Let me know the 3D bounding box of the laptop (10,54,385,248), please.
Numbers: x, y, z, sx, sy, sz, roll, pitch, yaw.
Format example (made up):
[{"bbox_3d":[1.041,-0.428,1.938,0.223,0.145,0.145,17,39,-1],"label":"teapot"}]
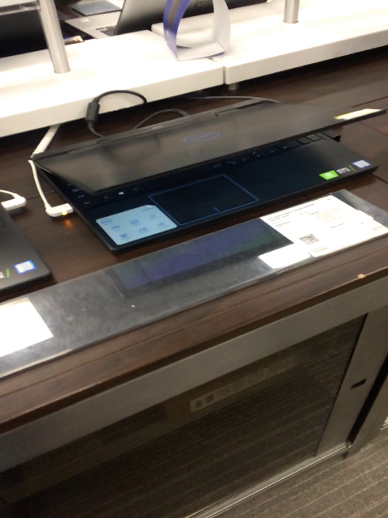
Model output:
[{"bbox_3d":[0.005,-0.168,0.689,0.389,0.091,0.246,-22,46,-22],"label":"laptop"}]
